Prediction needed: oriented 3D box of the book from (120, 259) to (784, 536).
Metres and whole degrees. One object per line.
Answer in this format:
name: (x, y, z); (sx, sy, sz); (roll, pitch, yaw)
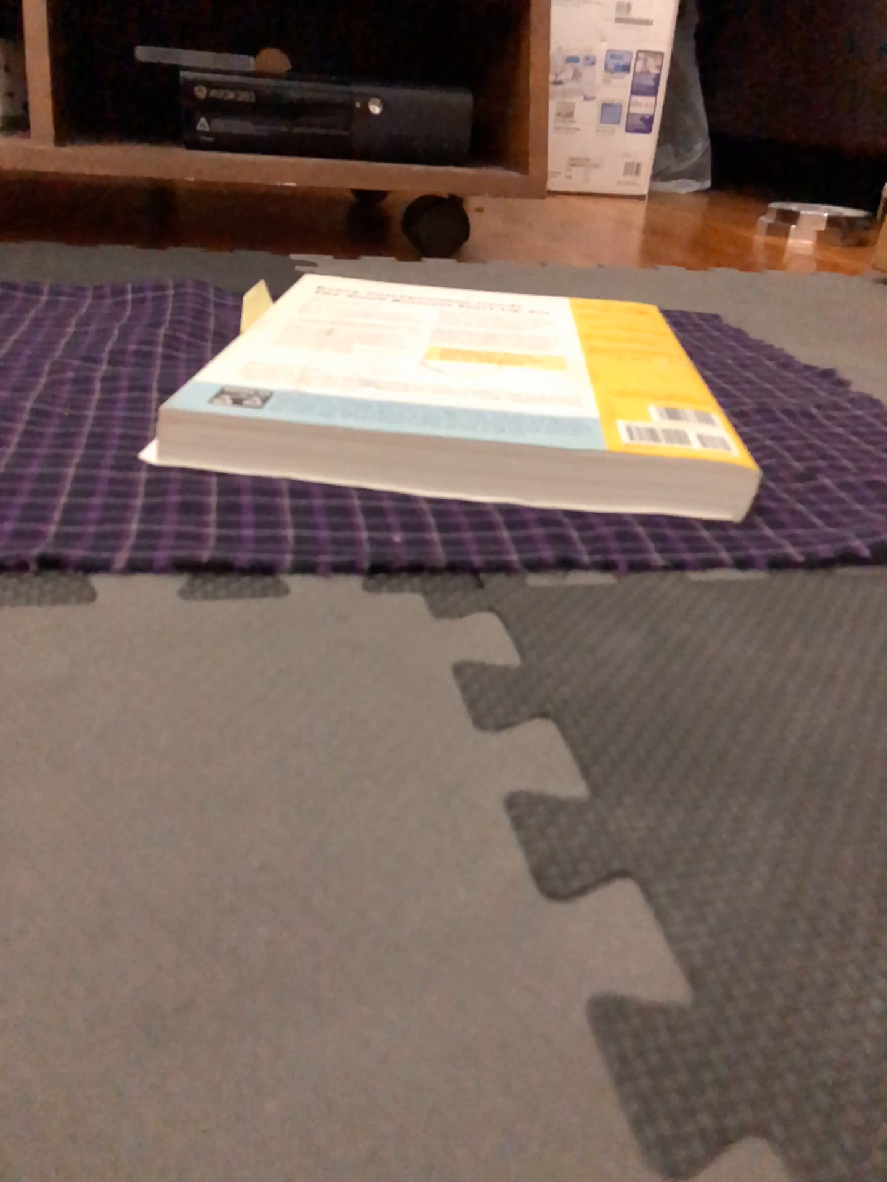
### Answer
book: (0.011, -0.115, 0.479); (0.230, 0.030, 0.312); (6, 27, 1)
